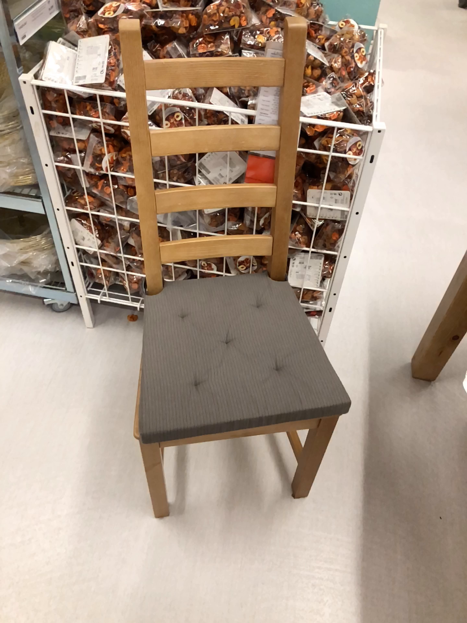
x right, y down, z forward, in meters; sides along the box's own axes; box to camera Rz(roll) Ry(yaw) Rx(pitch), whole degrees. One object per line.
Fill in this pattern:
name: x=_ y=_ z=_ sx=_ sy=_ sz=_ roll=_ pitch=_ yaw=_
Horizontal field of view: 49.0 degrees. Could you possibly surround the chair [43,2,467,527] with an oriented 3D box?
chair: x=-0.027 y=-0.012 z=1.004 sx=0.430 sy=0.914 sz=0.473 roll=-6 pitch=49 yaw=-8
